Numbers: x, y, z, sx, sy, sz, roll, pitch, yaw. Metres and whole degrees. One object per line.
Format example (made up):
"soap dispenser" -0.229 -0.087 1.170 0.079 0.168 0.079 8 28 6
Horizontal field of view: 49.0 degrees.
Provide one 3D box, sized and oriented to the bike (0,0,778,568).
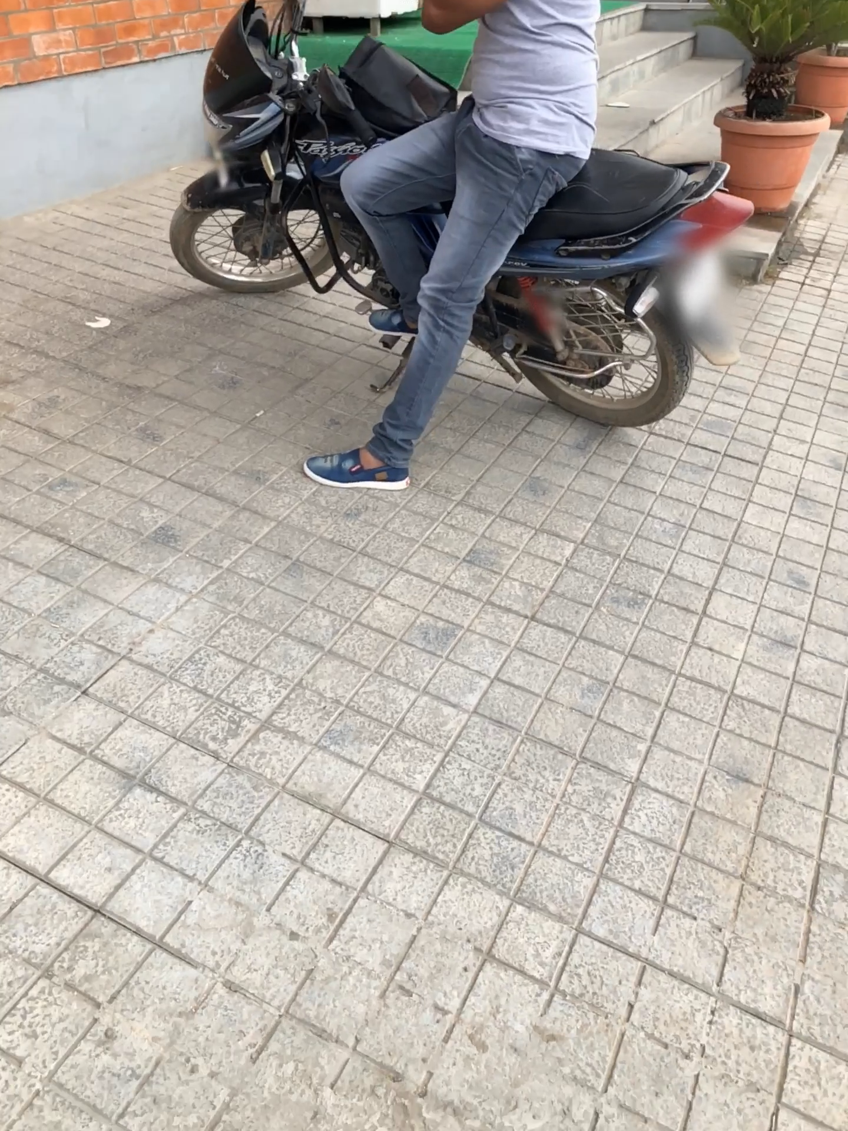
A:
"bike" -0.216 -1.042 2.522 1.819 1.345 0.817 19 40 21
